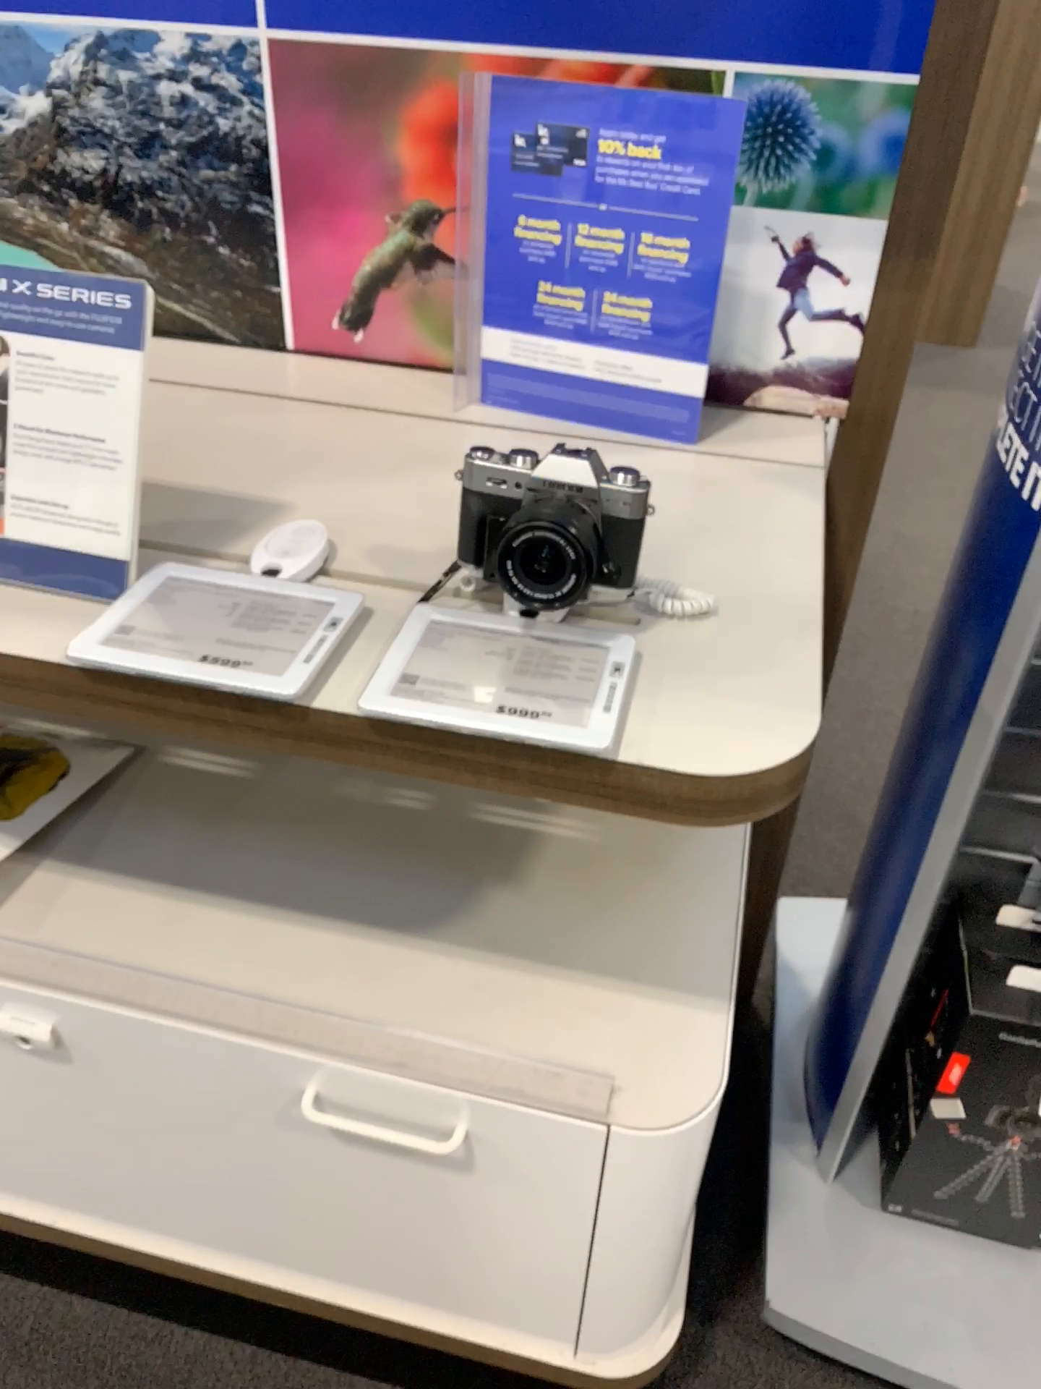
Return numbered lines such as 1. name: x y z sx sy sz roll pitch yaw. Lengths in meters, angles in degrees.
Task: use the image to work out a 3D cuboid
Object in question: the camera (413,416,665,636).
1. camera: 0.013 -0.107 0.666 0.130 0.080 0.101 10 37 11
